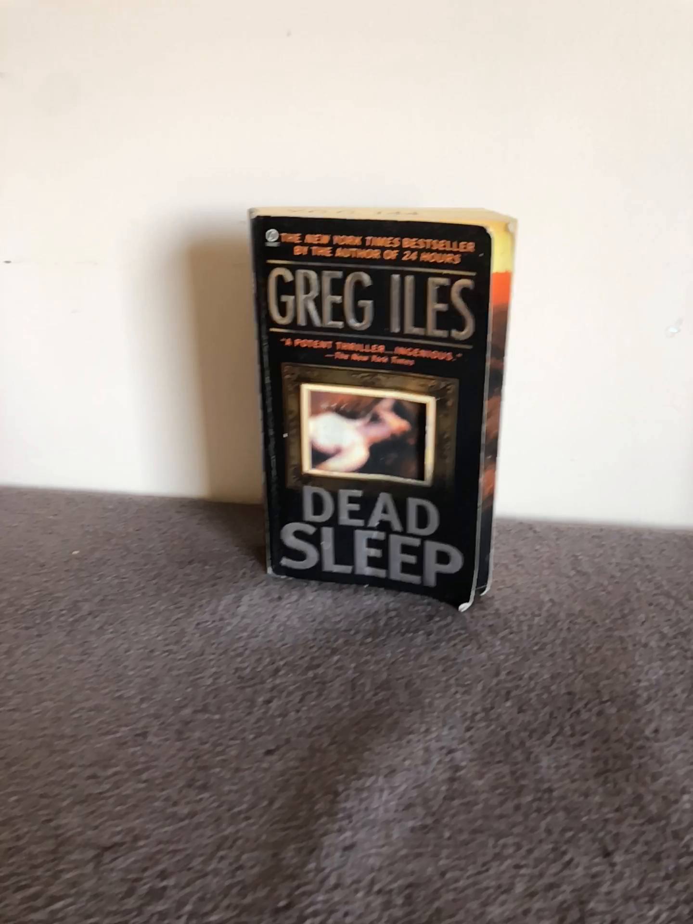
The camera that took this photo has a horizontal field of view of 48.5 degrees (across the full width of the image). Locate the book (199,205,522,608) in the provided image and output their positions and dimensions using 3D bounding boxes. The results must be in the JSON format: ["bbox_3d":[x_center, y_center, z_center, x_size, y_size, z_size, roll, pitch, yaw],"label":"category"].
[{"bbox_3d":[0.010,-0.027,0.346,0.123,0.163,0.061,4,23,12],"label":"book"}]
